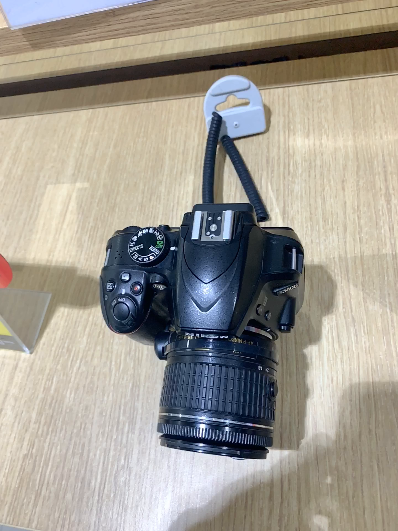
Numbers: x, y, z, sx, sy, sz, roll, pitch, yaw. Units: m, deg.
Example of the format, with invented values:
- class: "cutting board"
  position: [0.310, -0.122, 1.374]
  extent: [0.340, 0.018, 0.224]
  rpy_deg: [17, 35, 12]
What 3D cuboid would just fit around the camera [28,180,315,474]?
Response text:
- class: "camera"
  position: [0.000, 0.037, 0.230]
  extent: [0.120, 0.090, 0.130]
  rpy_deg: [-1, 64, 15]
